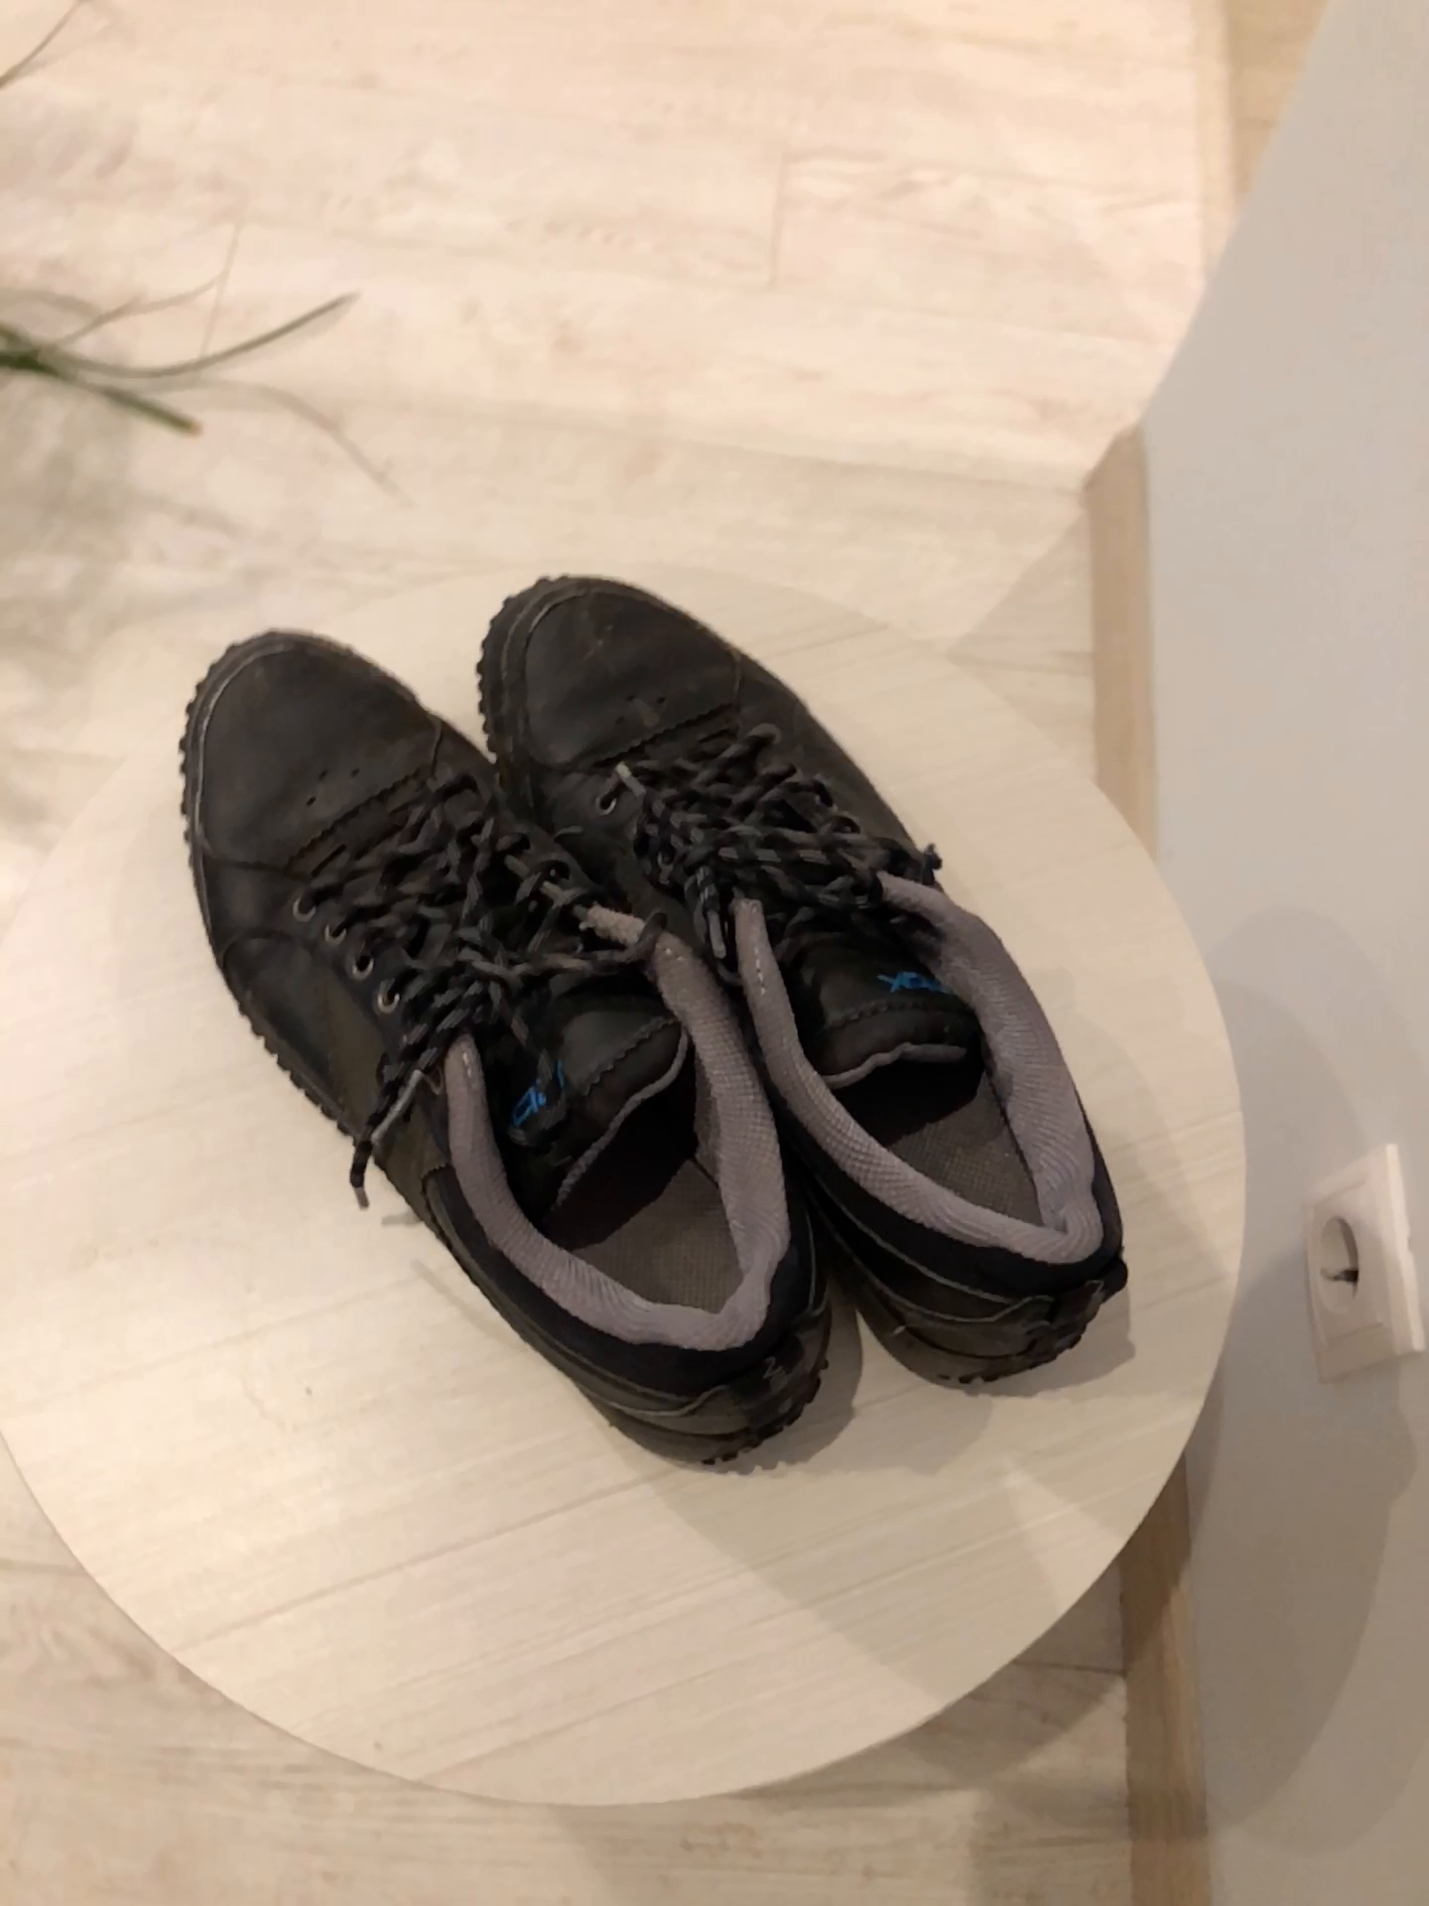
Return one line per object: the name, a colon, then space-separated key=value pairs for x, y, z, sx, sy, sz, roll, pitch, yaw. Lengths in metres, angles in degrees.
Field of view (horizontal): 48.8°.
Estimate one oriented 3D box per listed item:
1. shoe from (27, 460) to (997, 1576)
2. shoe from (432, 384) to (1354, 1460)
shoe: x=-0.060 y=0.014 z=0.429 sx=0.110 sy=0.100 sz=0.271 roll=-31 pitch=72 yaw=-16
shoe: x=0.034 y=-0.013 z=0.447 sx=0.110 sy=0.100 sz=0.271 roll=-26 pitch=71 yaw=-15
